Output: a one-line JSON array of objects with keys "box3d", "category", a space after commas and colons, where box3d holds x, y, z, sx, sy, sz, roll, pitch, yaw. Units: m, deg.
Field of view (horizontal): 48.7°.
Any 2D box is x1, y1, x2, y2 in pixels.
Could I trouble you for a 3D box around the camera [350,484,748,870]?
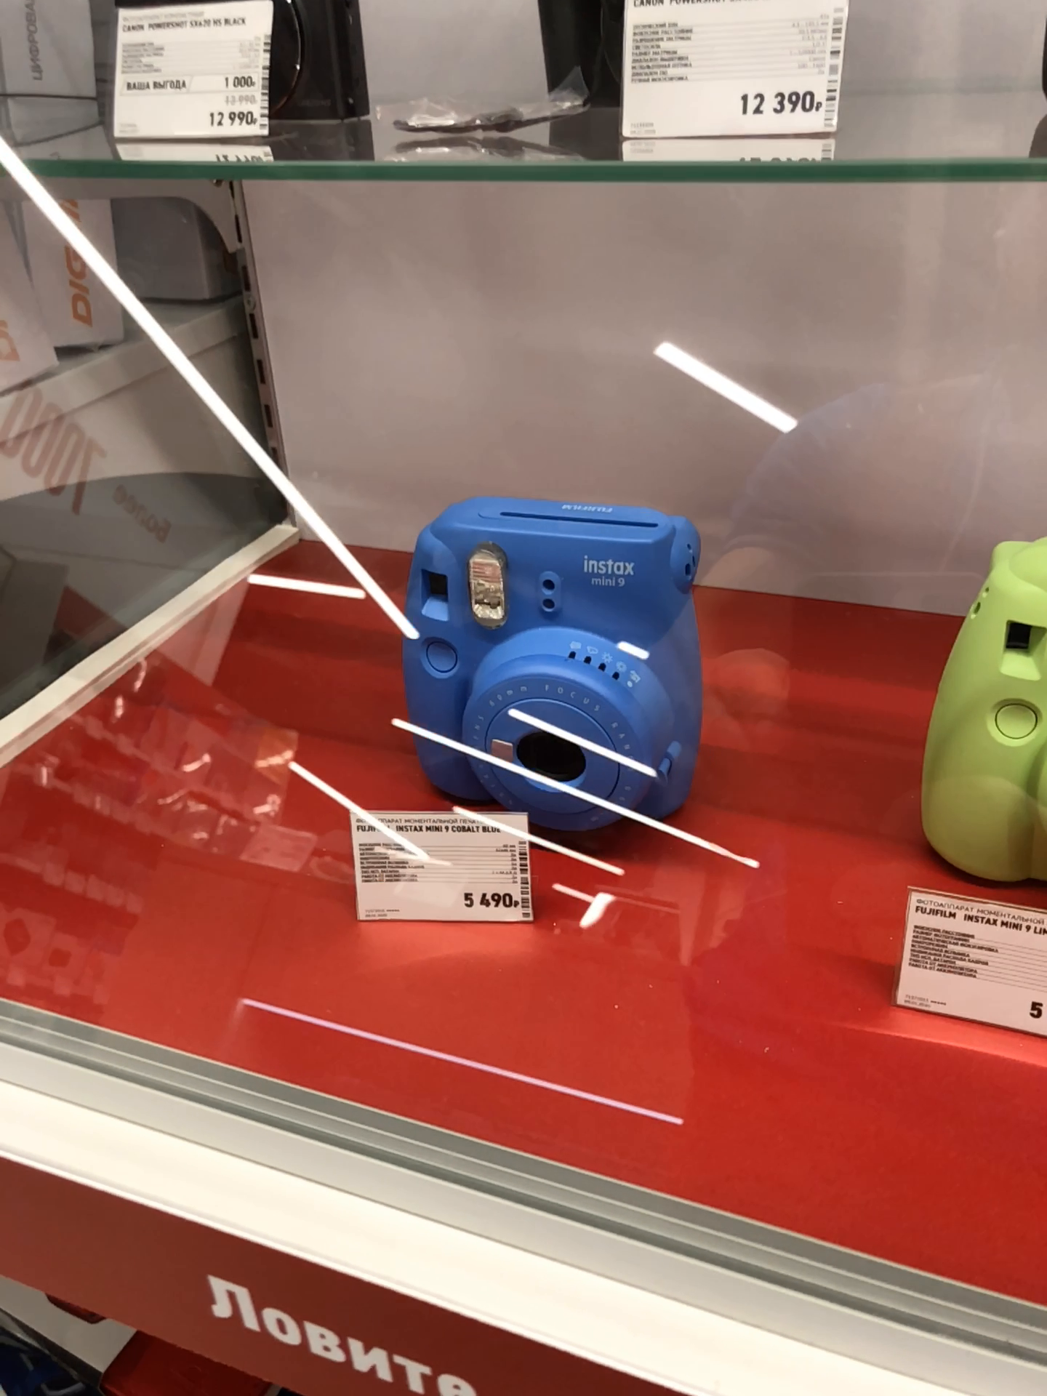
[{"box3d": [0.014, -0.011, 0.422, 0.122, 0.109, 0.070, 6, 31, 15], "category": "camera"}]
